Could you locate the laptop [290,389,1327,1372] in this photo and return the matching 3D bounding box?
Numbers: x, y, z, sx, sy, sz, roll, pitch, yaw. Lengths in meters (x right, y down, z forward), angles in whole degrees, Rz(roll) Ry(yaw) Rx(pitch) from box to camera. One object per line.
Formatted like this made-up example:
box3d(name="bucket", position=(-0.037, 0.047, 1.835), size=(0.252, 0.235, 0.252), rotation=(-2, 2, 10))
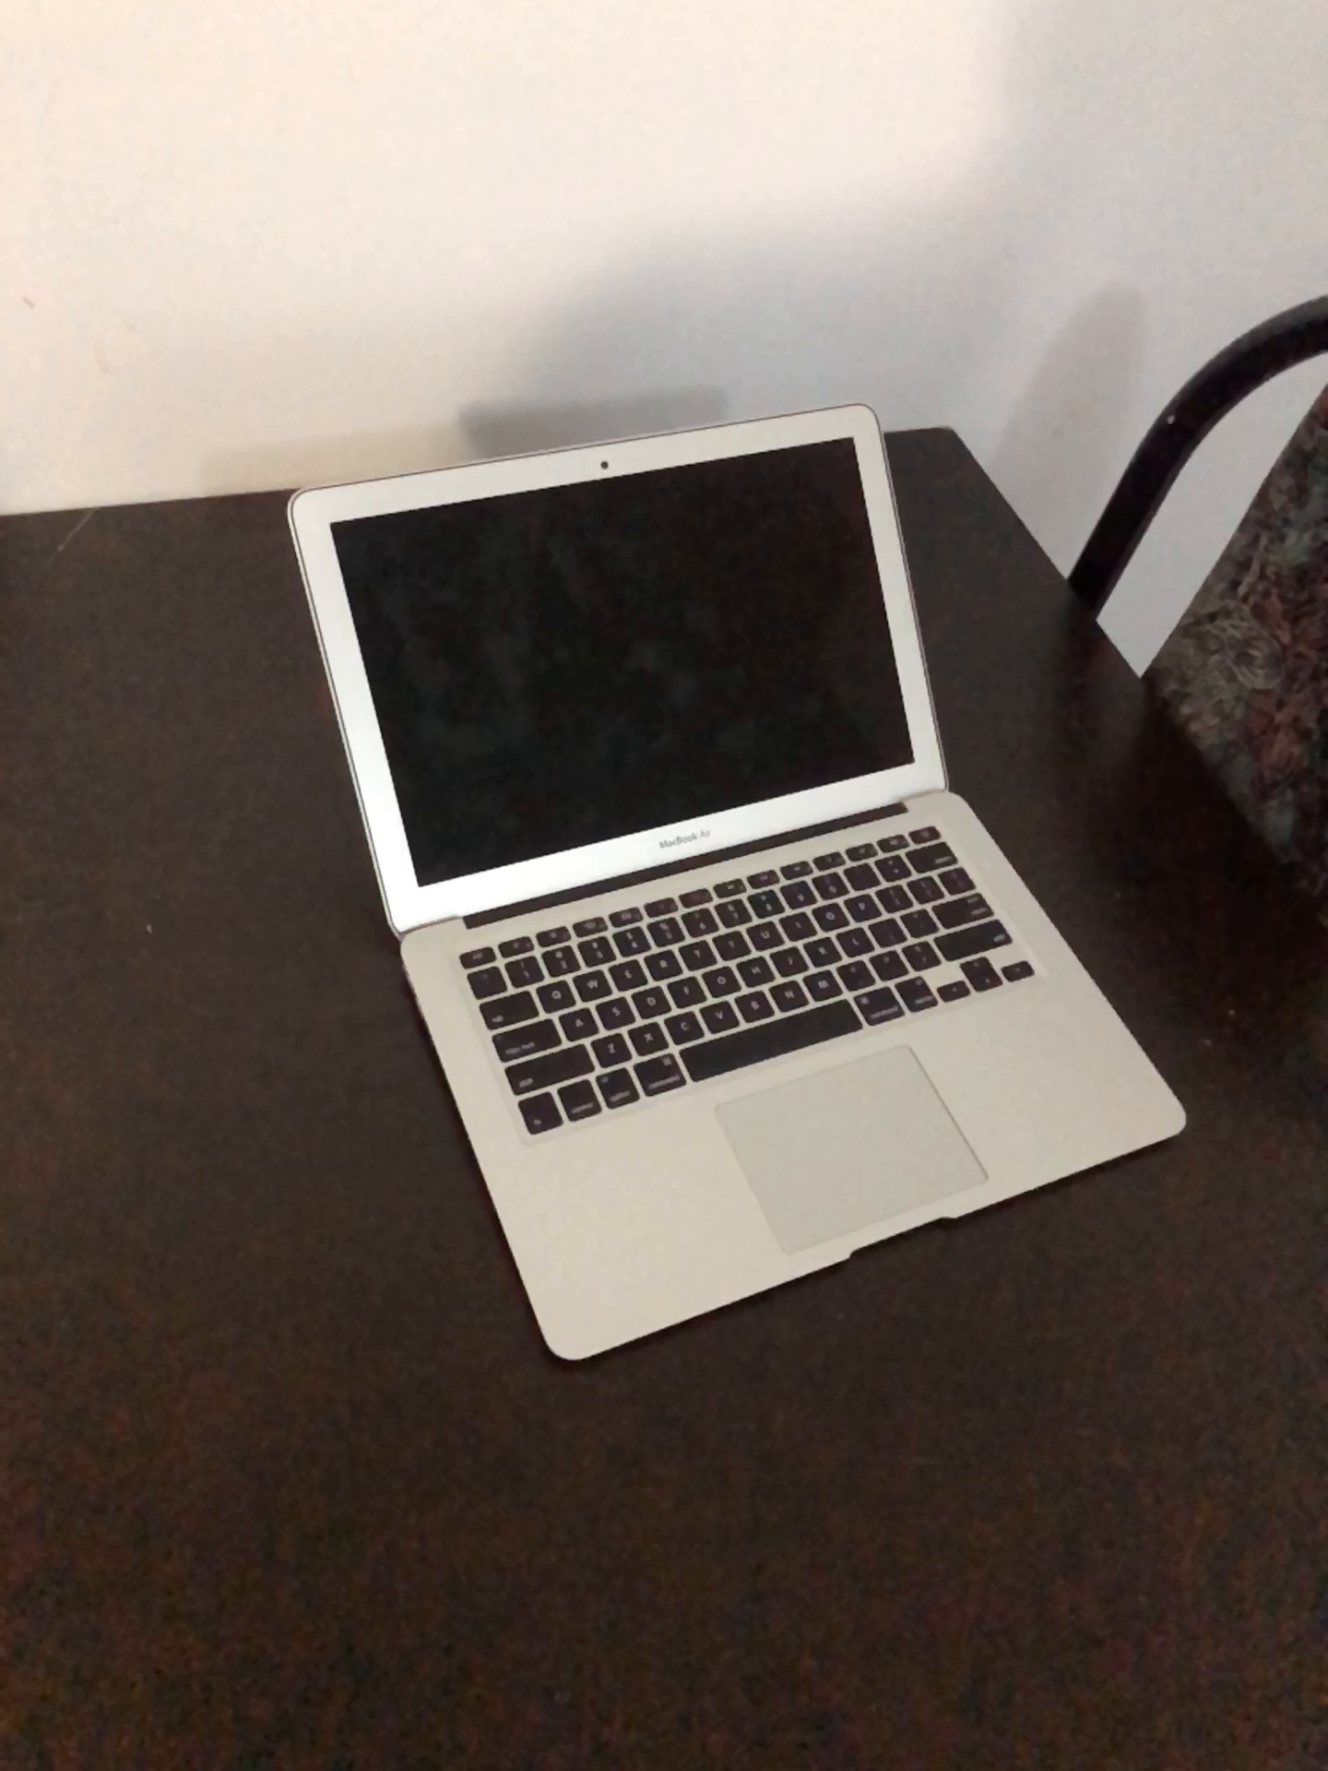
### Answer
box3d(name="laptop", position=(0.036, -0.035, 0.643), size=(0.303, 0.136, 0.362), rotation=(-15, 54, -19))
